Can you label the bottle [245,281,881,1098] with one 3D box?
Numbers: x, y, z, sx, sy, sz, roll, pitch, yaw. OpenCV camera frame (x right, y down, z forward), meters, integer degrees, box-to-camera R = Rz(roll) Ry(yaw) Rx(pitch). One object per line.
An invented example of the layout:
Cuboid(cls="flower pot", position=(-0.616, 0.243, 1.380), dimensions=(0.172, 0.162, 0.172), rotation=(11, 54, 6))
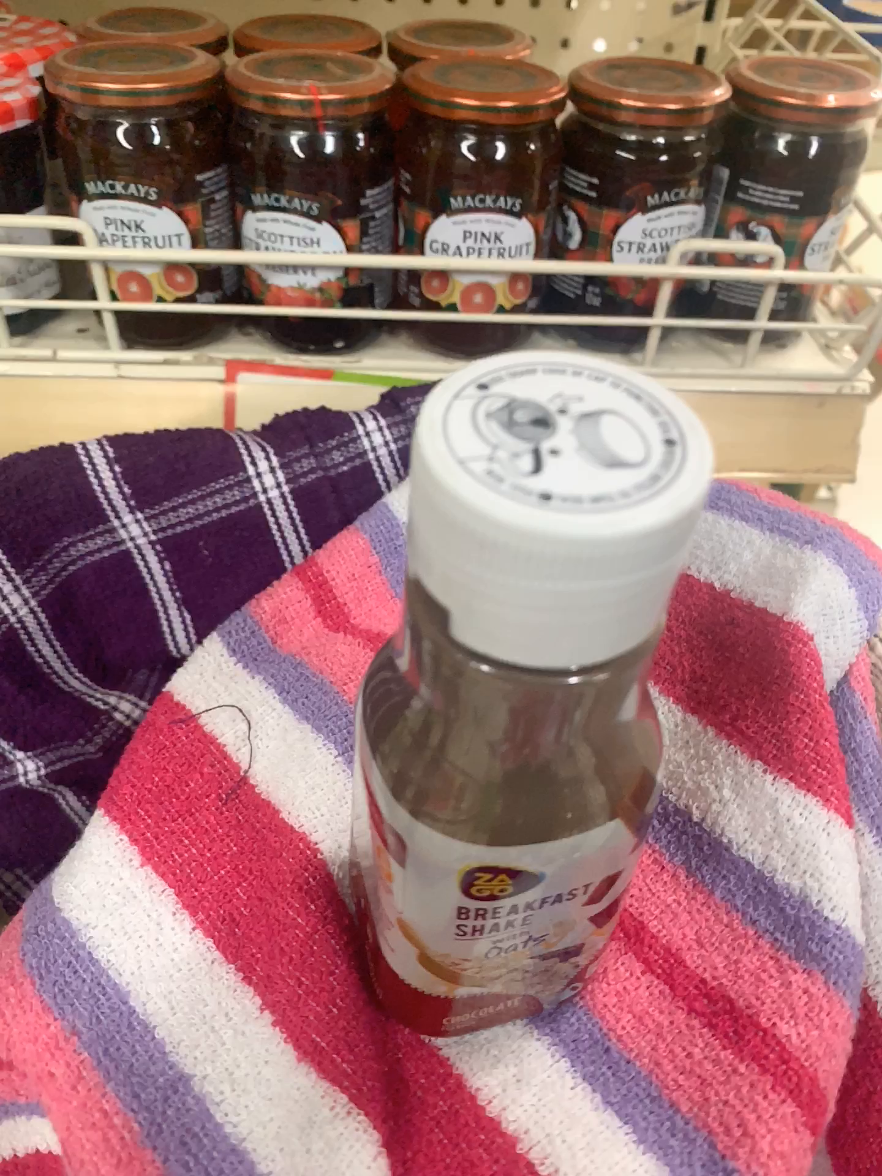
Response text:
Cuboid(cls="bottle", position=(0.007, 0.028, 0.155), dimensions=(0.060, 0.139, 0.050), rotation=(-9, 46, -13))
